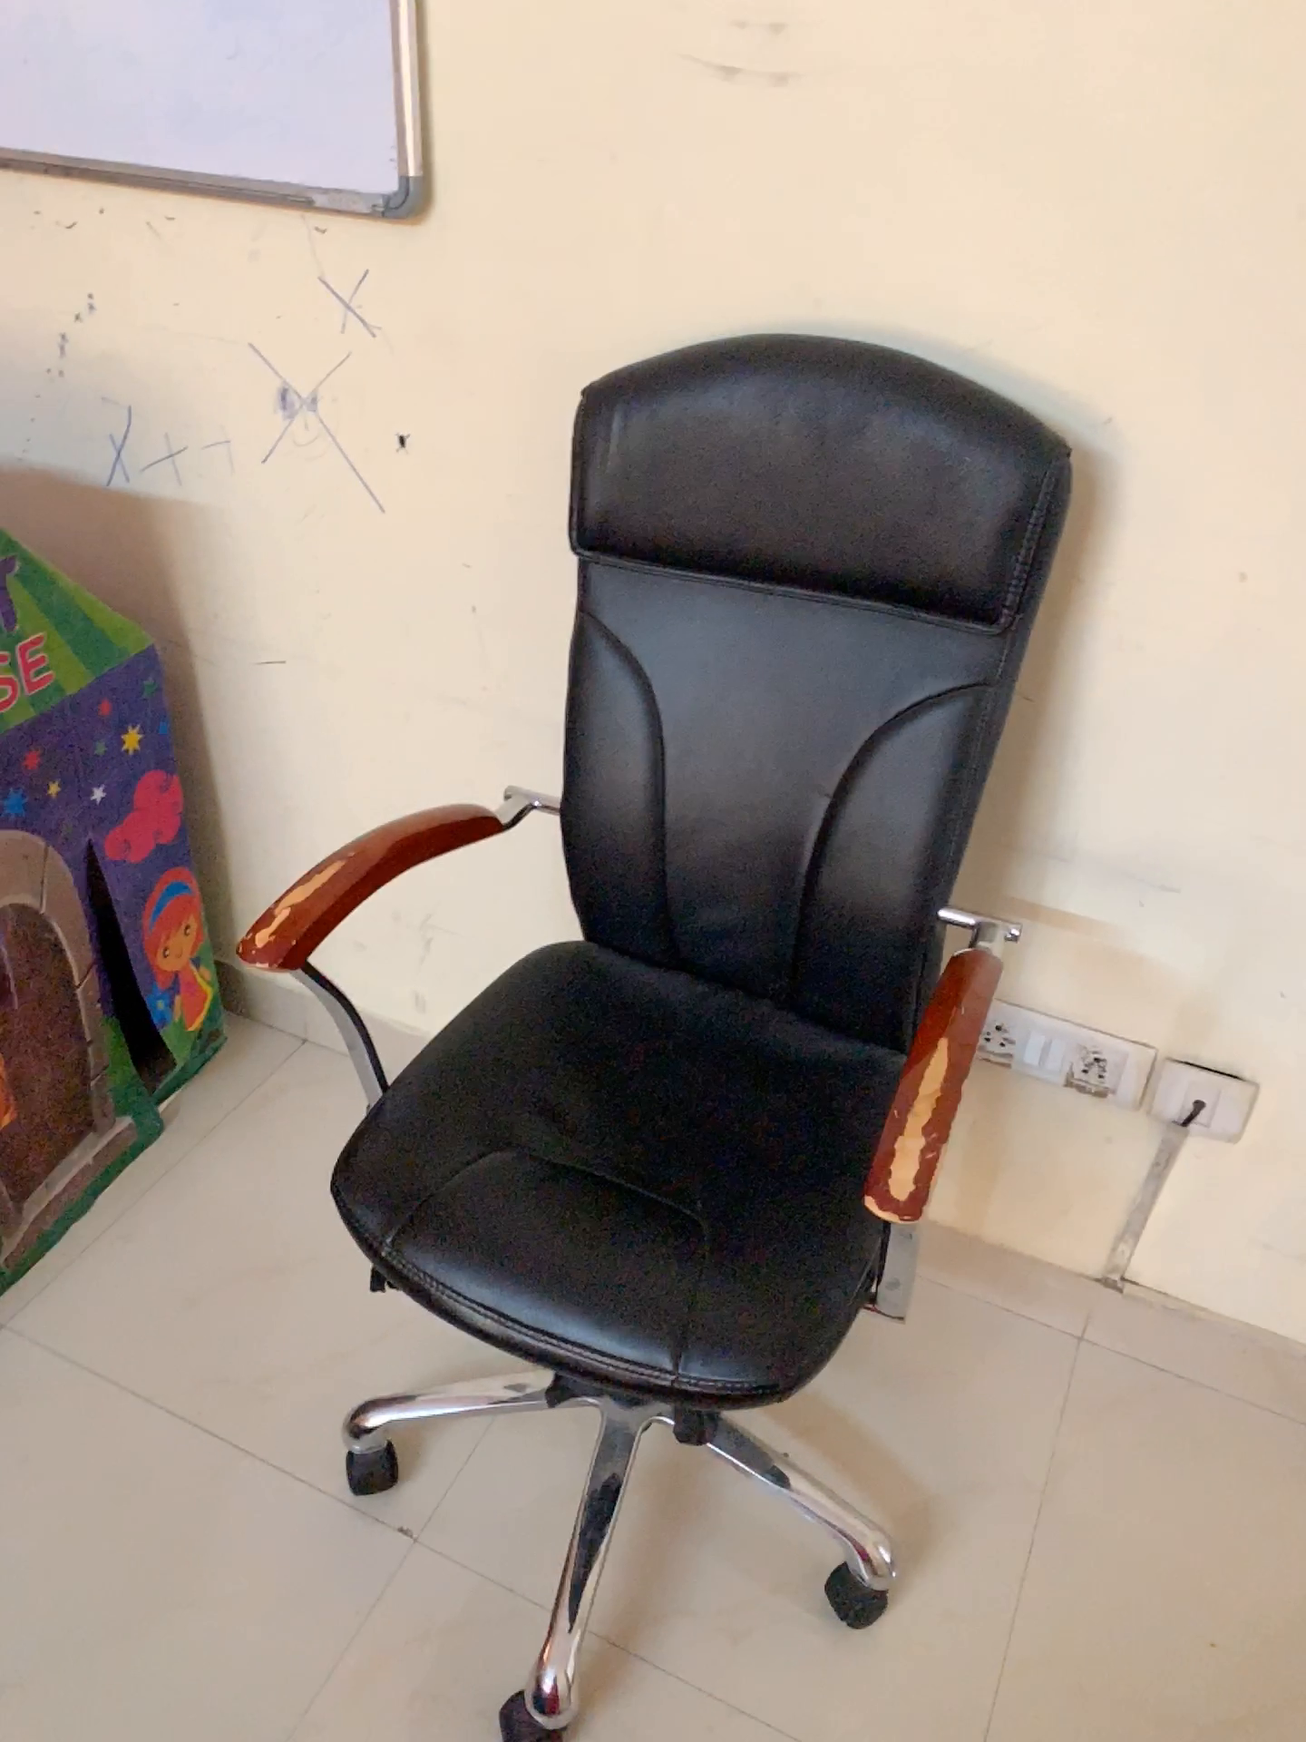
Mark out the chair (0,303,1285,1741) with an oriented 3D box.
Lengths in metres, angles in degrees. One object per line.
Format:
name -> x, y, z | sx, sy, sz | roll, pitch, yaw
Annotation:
chair -> 0.013, 0.160, 1.220 | 0.701, 1.081, 0.755 | 17, 36, 21
